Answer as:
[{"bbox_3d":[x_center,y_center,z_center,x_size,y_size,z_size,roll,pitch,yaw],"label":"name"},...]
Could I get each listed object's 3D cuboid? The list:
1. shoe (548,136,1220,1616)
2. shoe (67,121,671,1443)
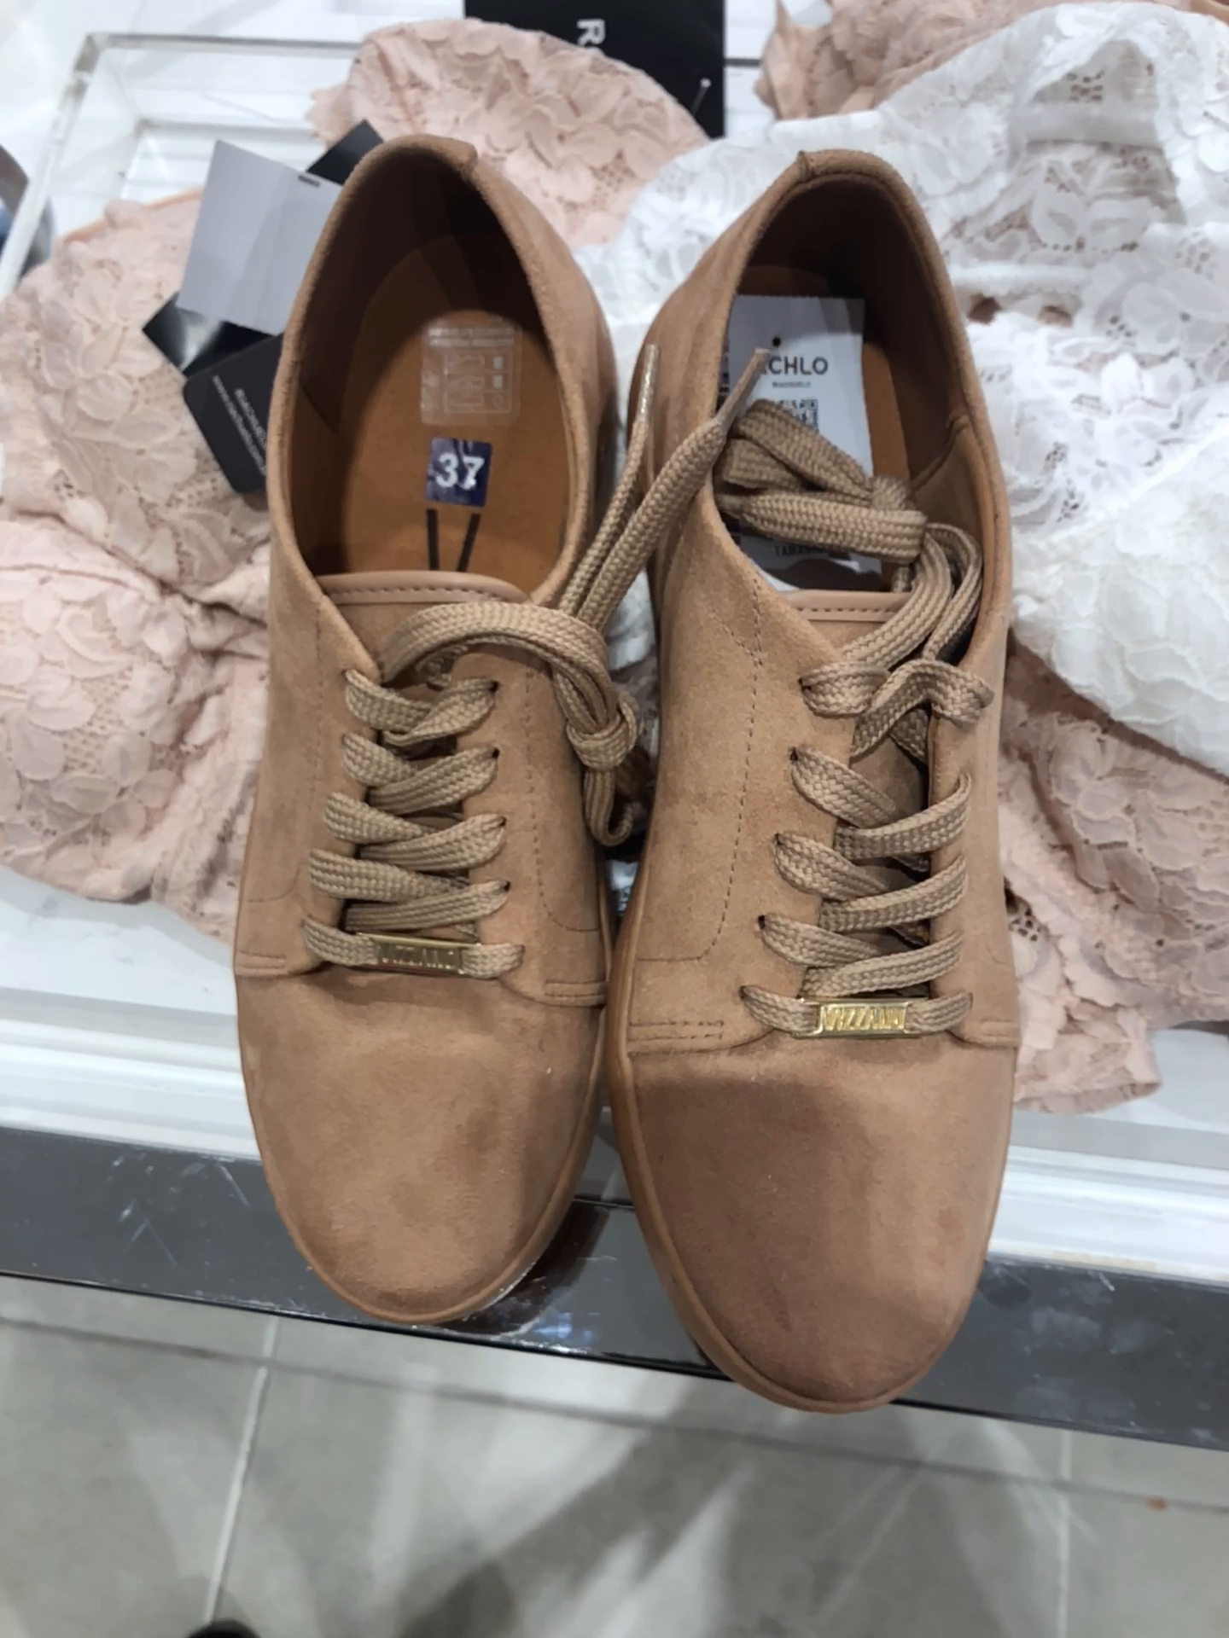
[{"bbox_3d":[0.041,0.007,0.279,0.090,0.100,0.240,0,82,-11],"label":"shoe"},{"bbox_3d":[-0.042,-0.009,0.303,0.090,0.100,0.240,4,86,5],"label":"shoe"}]
